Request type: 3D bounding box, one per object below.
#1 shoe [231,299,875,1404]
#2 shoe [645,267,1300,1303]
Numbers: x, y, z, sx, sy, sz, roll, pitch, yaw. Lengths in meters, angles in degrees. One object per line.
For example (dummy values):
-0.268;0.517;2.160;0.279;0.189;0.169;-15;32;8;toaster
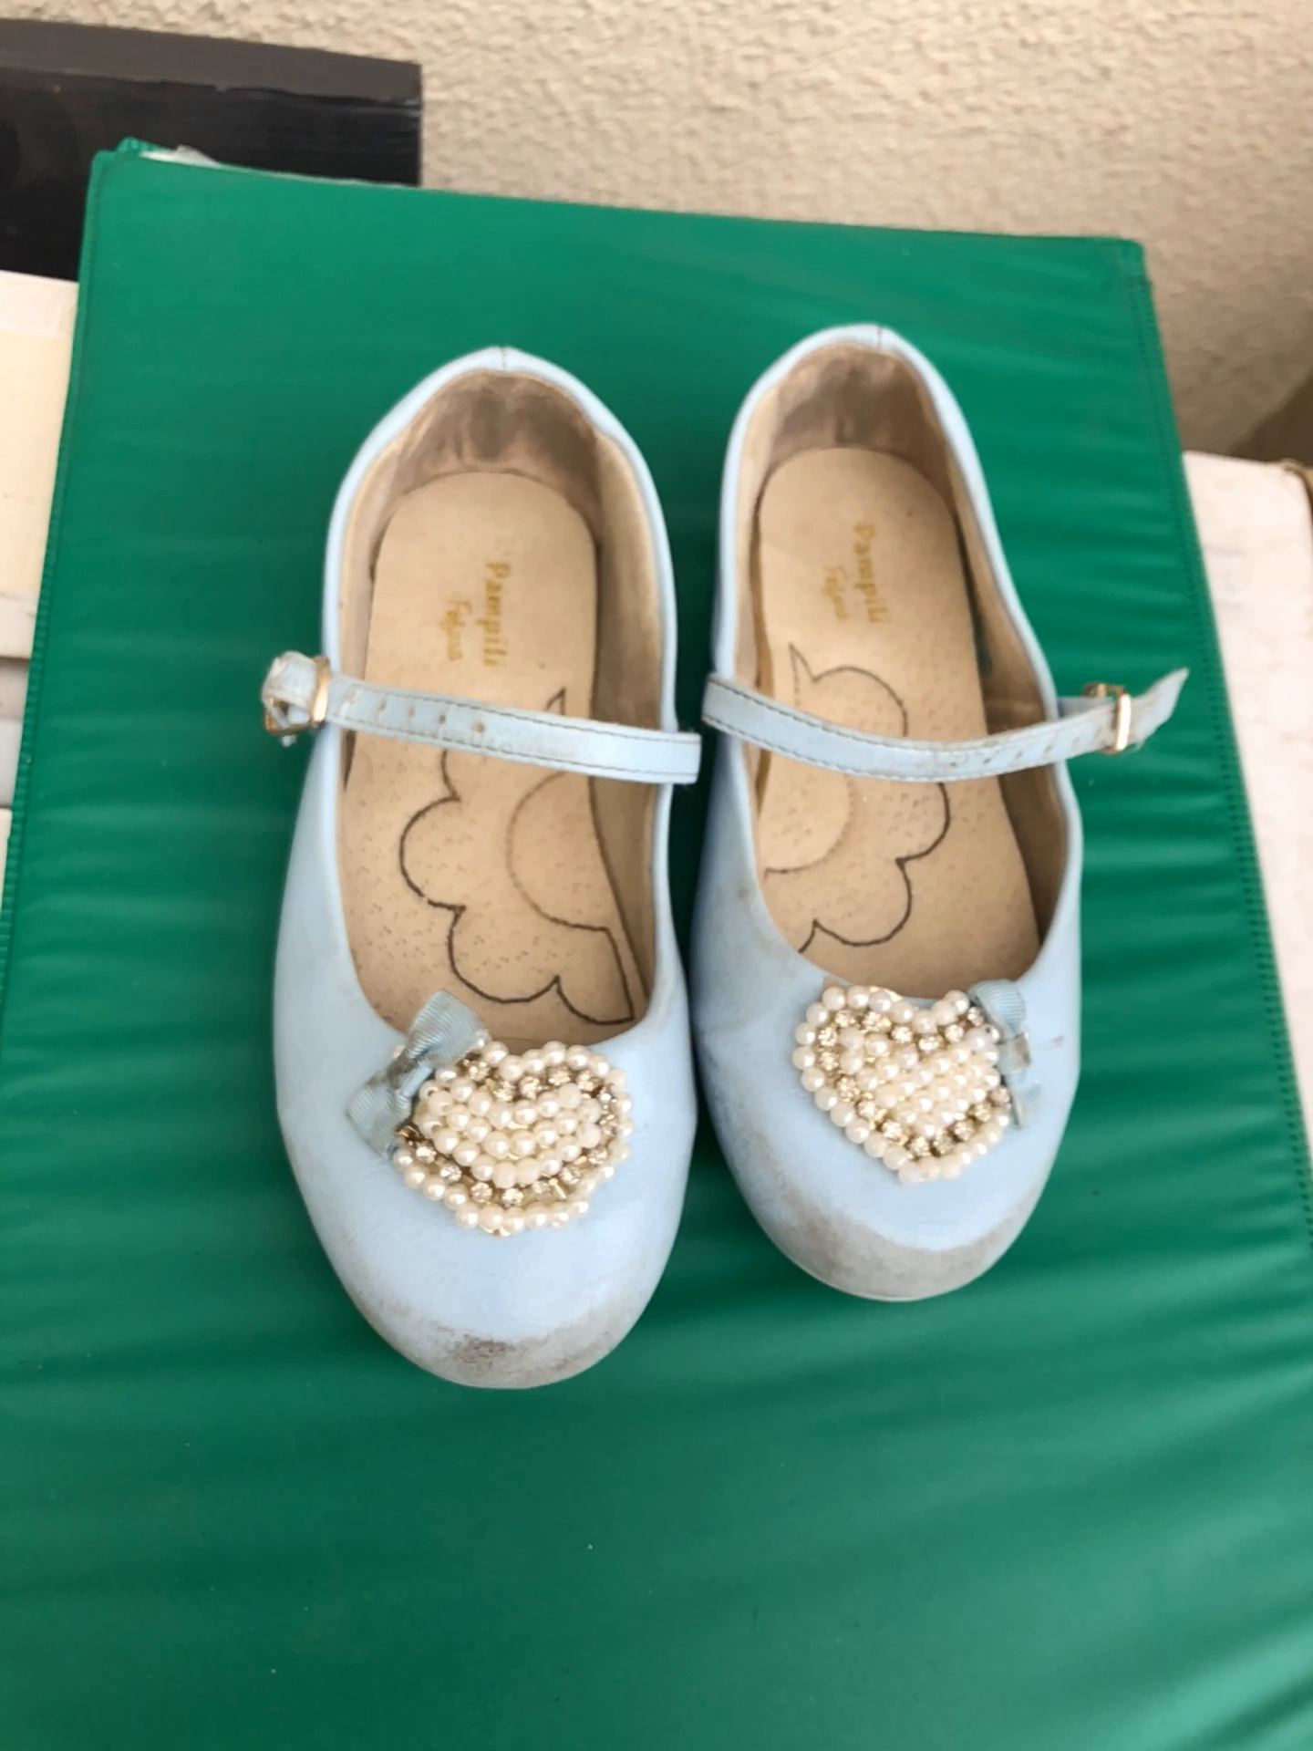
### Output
-0.022;-0.005;0.246;0.086;0.050;0.170;1;71;-12;shoe
0.046;-0.016;0.259;0.080;0.050;0.170;1;71;-12;shoe
